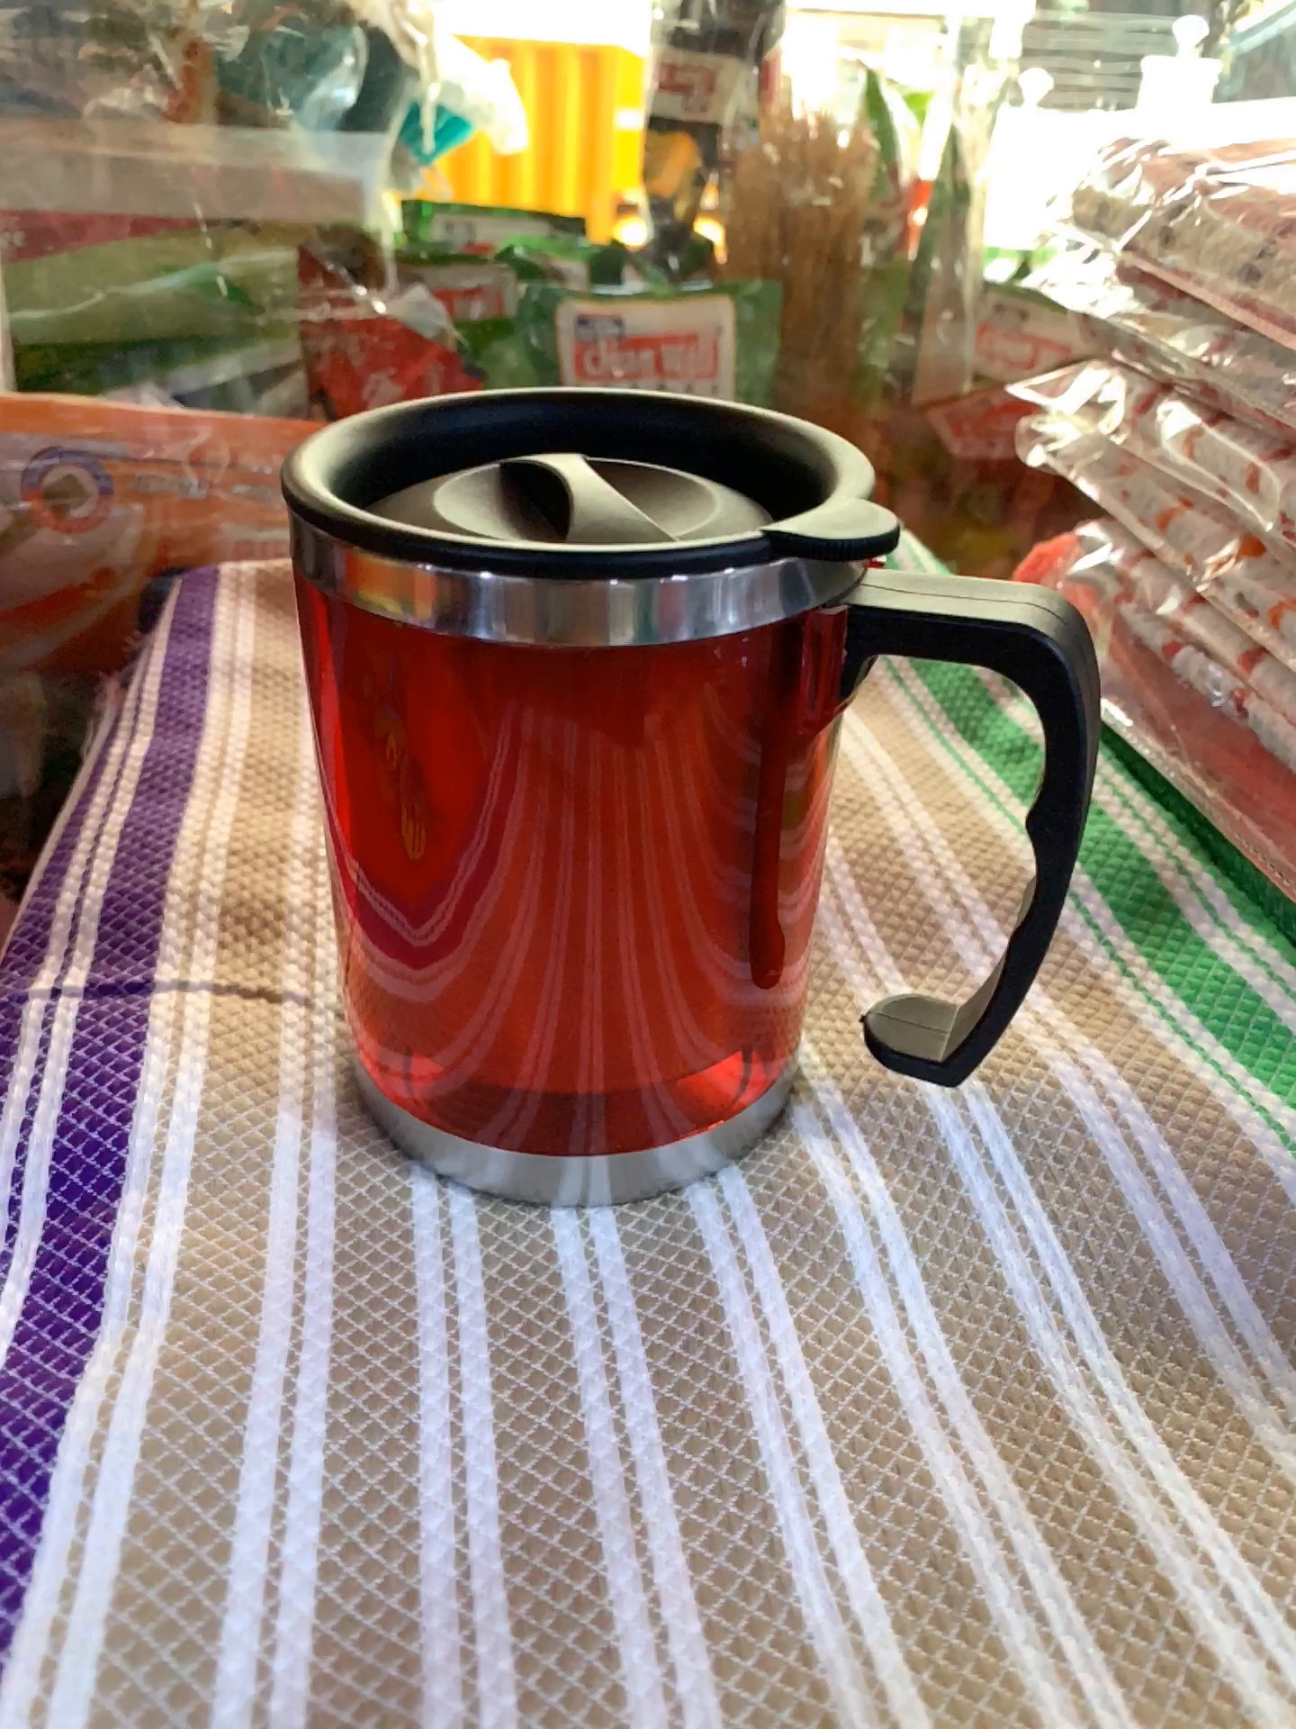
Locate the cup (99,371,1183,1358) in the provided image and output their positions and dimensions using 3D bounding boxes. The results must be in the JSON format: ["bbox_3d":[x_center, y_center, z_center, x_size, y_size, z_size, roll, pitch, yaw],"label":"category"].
[{"bbox_3d":[0.006,-0.012,0.220,0.129,0.102,0.100,11,31,15],"label":"cup"}]
